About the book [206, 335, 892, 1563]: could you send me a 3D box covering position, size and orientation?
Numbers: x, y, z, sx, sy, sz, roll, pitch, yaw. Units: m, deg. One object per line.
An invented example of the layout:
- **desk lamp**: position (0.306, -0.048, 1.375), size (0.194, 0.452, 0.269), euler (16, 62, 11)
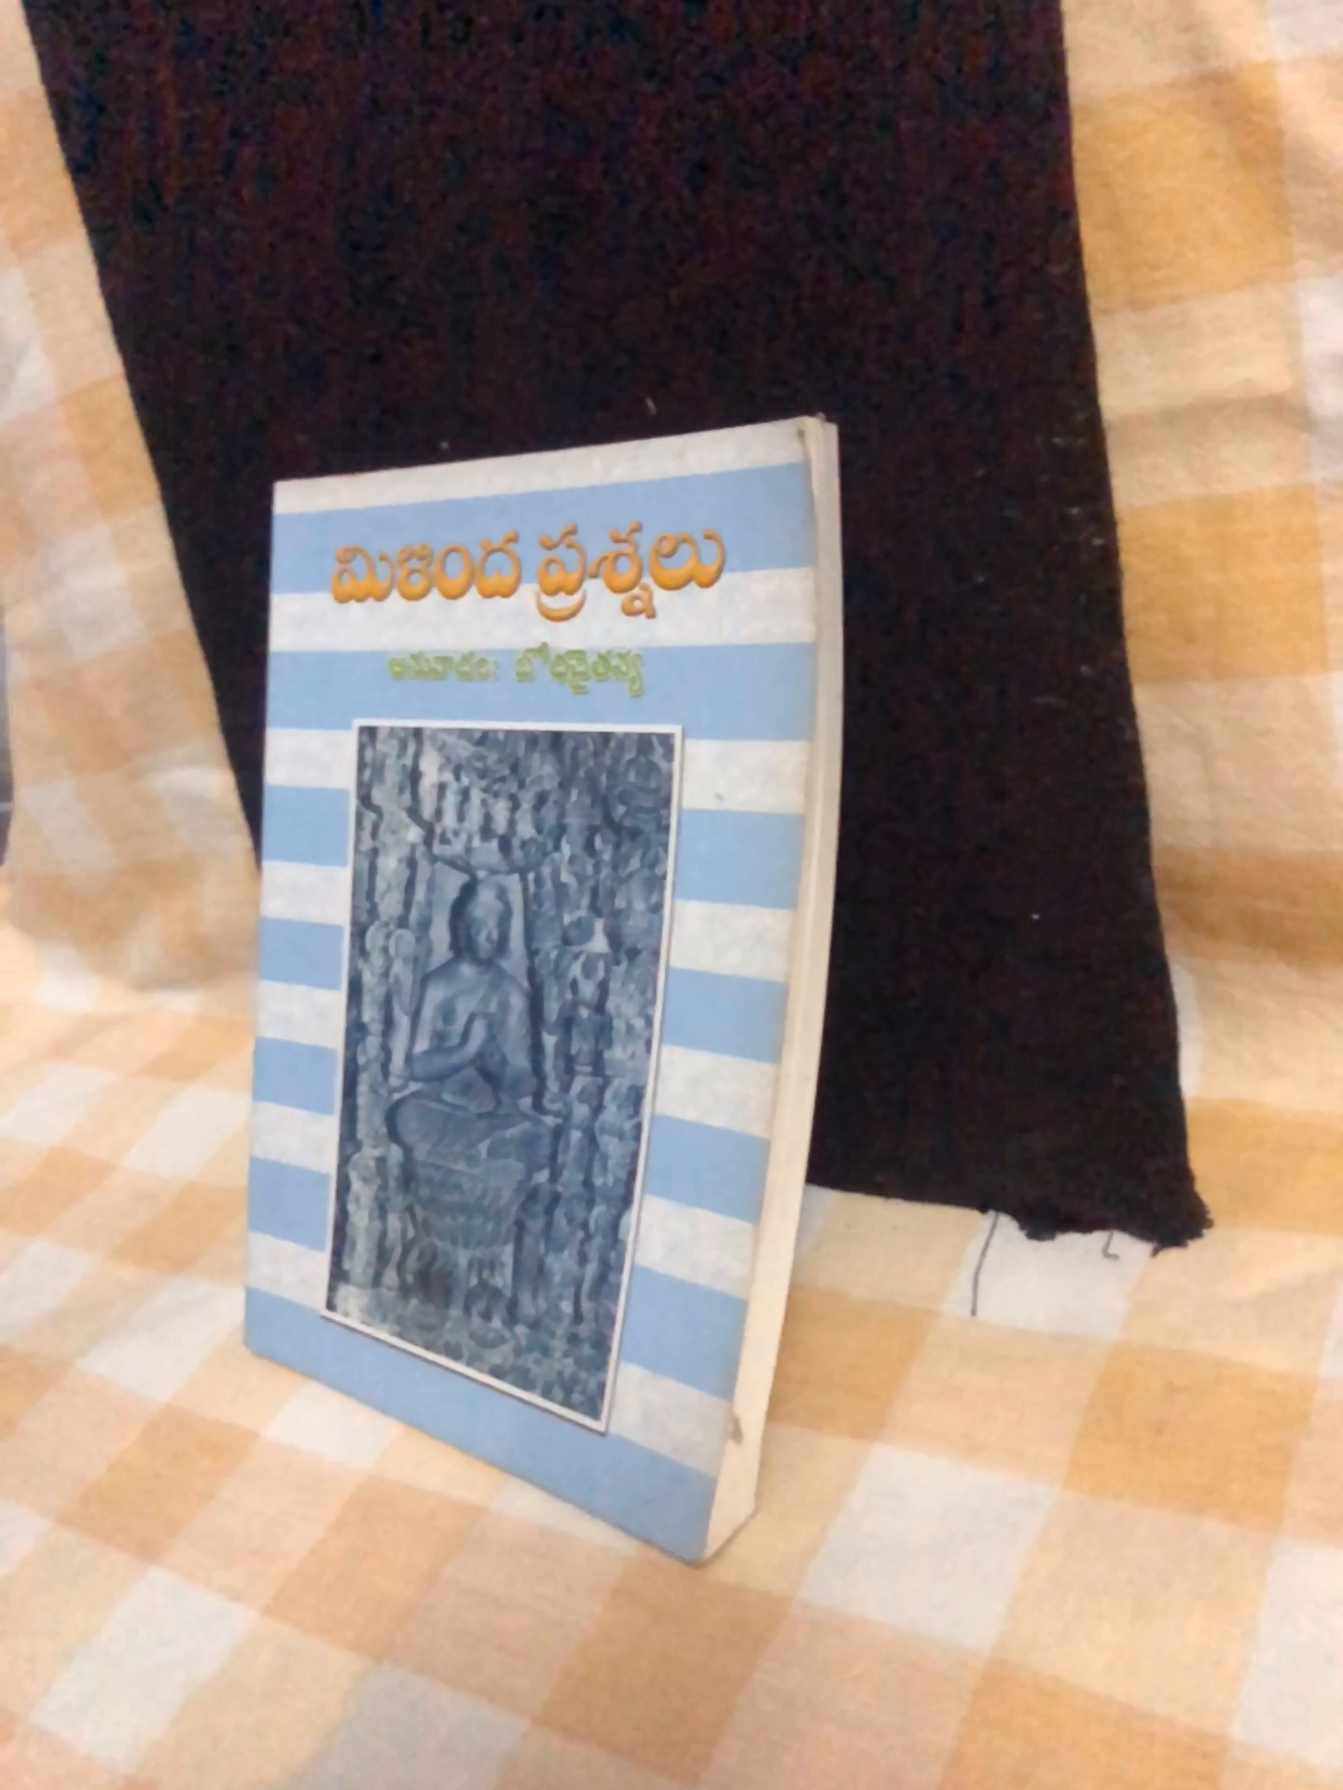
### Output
- **book**: position (-0.036, 0.005, 0.317), size (0.160, 0.210, 0.030), euler (5, 3, 40)
